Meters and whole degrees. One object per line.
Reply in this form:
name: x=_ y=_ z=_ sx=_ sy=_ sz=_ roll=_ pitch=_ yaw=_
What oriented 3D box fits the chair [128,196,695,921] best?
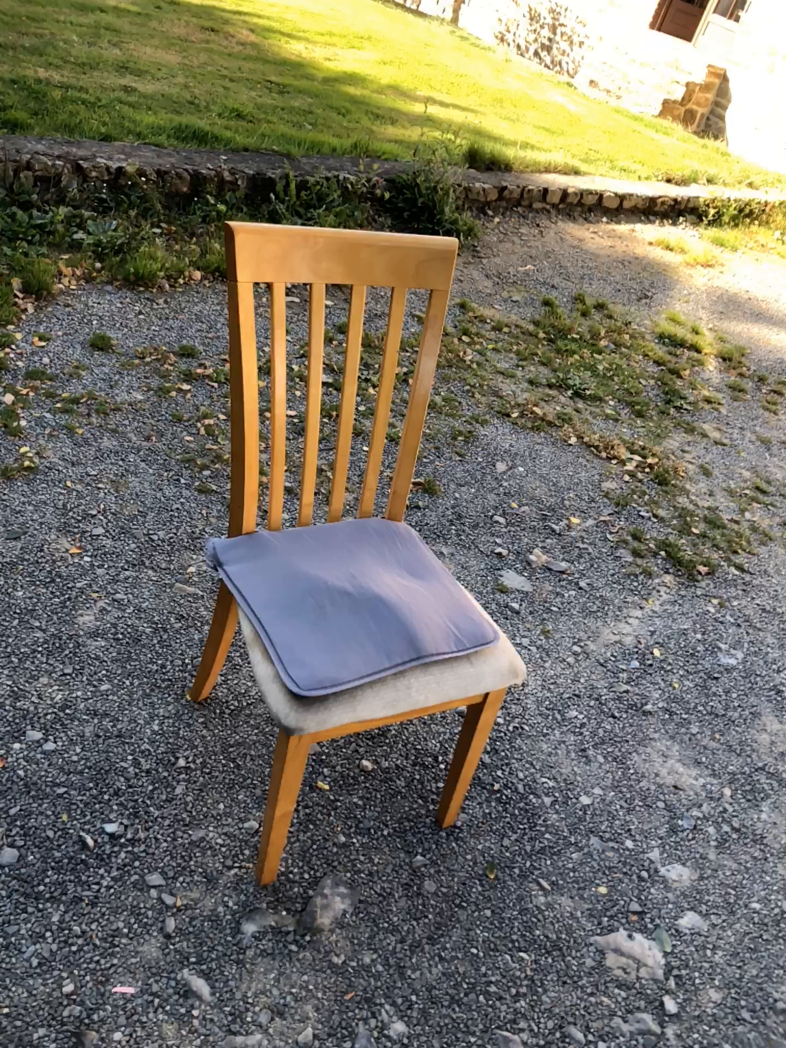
chair: x=-0.078 y=0.064 z=1.497 sx=0.512 sy=0.993 sz=0.612 roll=-6 pitch=41 yaw=-32
